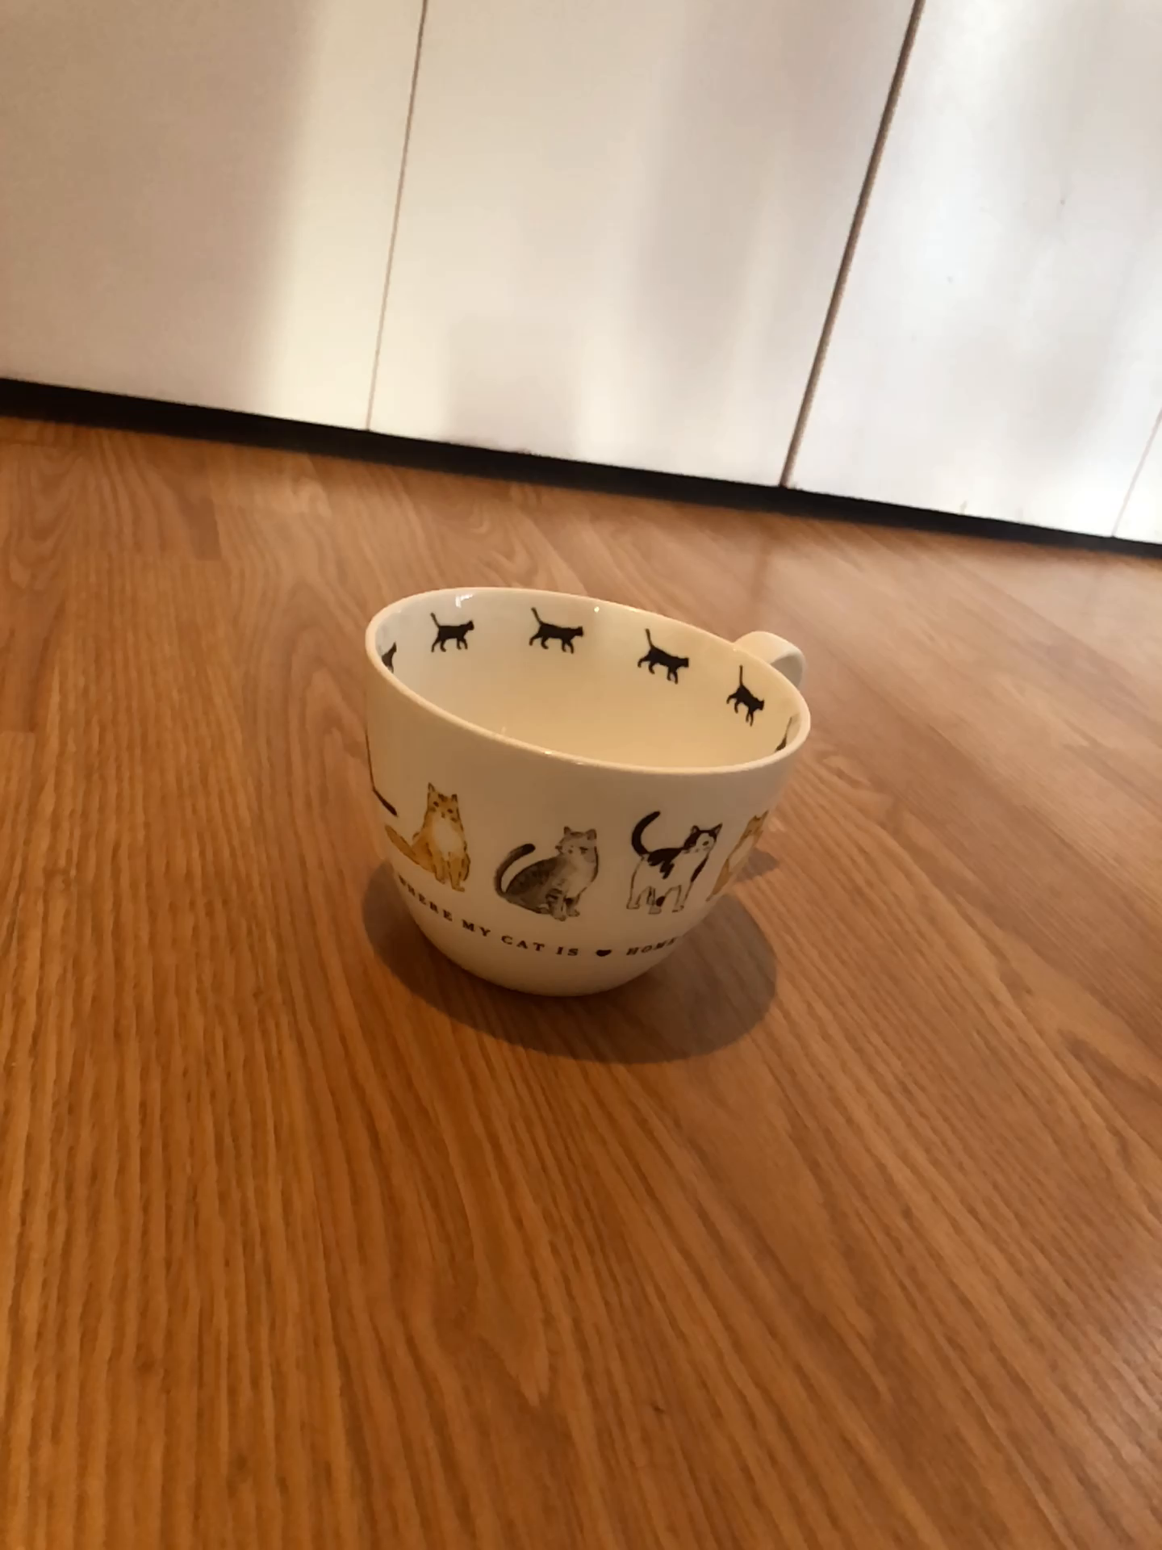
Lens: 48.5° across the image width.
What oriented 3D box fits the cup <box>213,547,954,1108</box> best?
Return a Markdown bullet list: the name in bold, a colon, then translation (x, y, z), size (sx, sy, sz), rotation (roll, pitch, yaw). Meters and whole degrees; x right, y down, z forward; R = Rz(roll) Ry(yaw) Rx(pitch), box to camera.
- **cup**: translation (0.003, -0.001, 0.364), size (0.120, 0.080, 0.160), rotation (31, 30, 33)
